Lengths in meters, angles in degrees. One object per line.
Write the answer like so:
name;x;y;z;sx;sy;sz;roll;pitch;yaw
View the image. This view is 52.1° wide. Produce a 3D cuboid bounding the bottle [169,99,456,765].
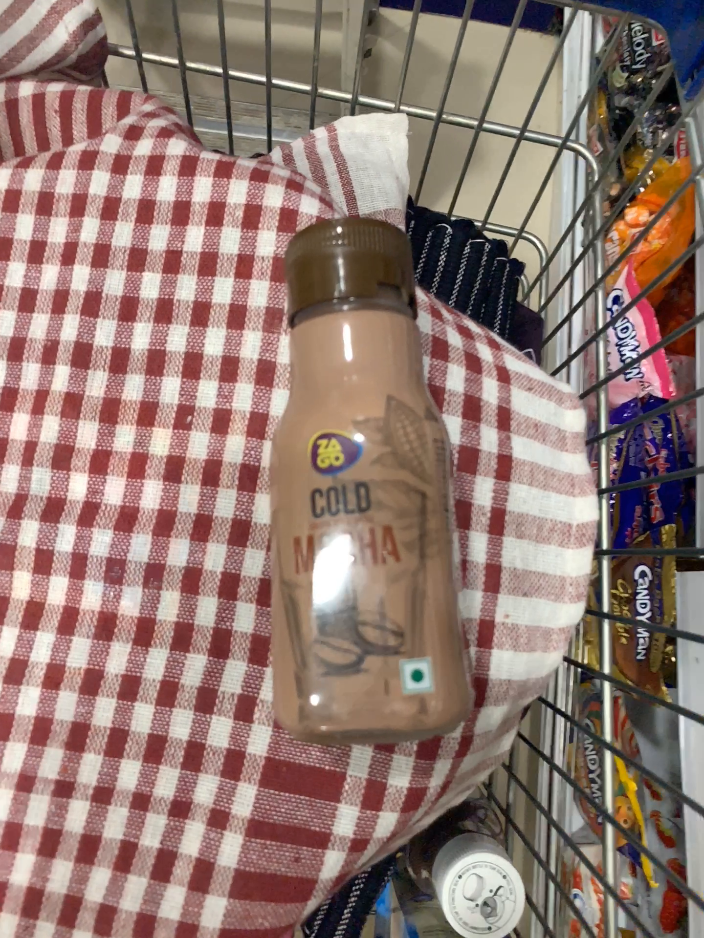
bottle;-0.009;-0.009;0.222;0.060;0.070;0.170;-6;82;10
